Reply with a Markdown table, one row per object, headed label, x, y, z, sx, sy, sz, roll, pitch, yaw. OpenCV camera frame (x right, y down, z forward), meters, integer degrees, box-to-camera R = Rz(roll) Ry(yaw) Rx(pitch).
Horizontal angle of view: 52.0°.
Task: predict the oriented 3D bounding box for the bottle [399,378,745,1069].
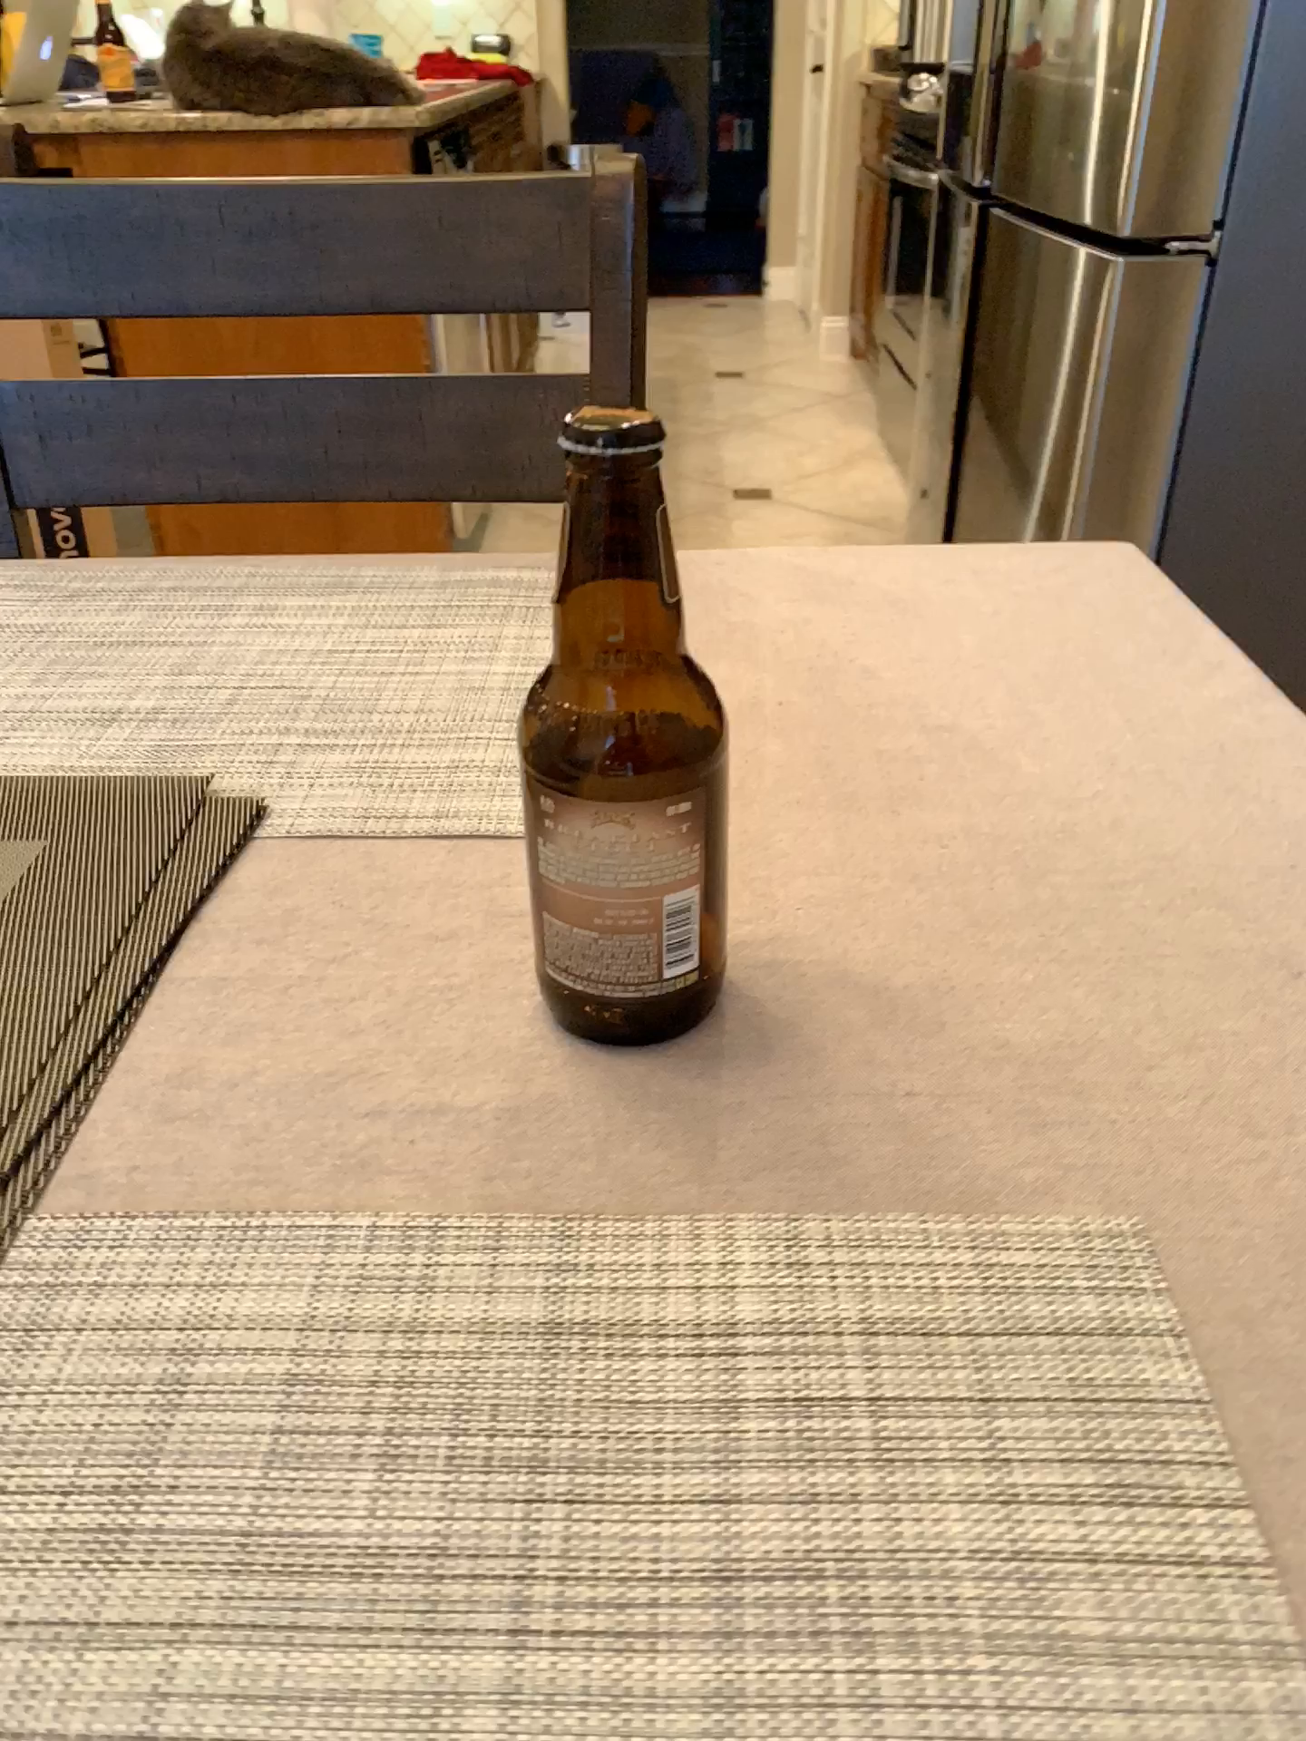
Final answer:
| label | x | y | z | sx | sy | sz | roll | pitch | yaw |
| --- | --- | --- | --- | --- | --- | --- | --- | --- | --- |
| bottle | -0.017 | -0.042 | 0.406 | 0.080 | 0.189 | 0.080 | -1 | 32 | 0 |
